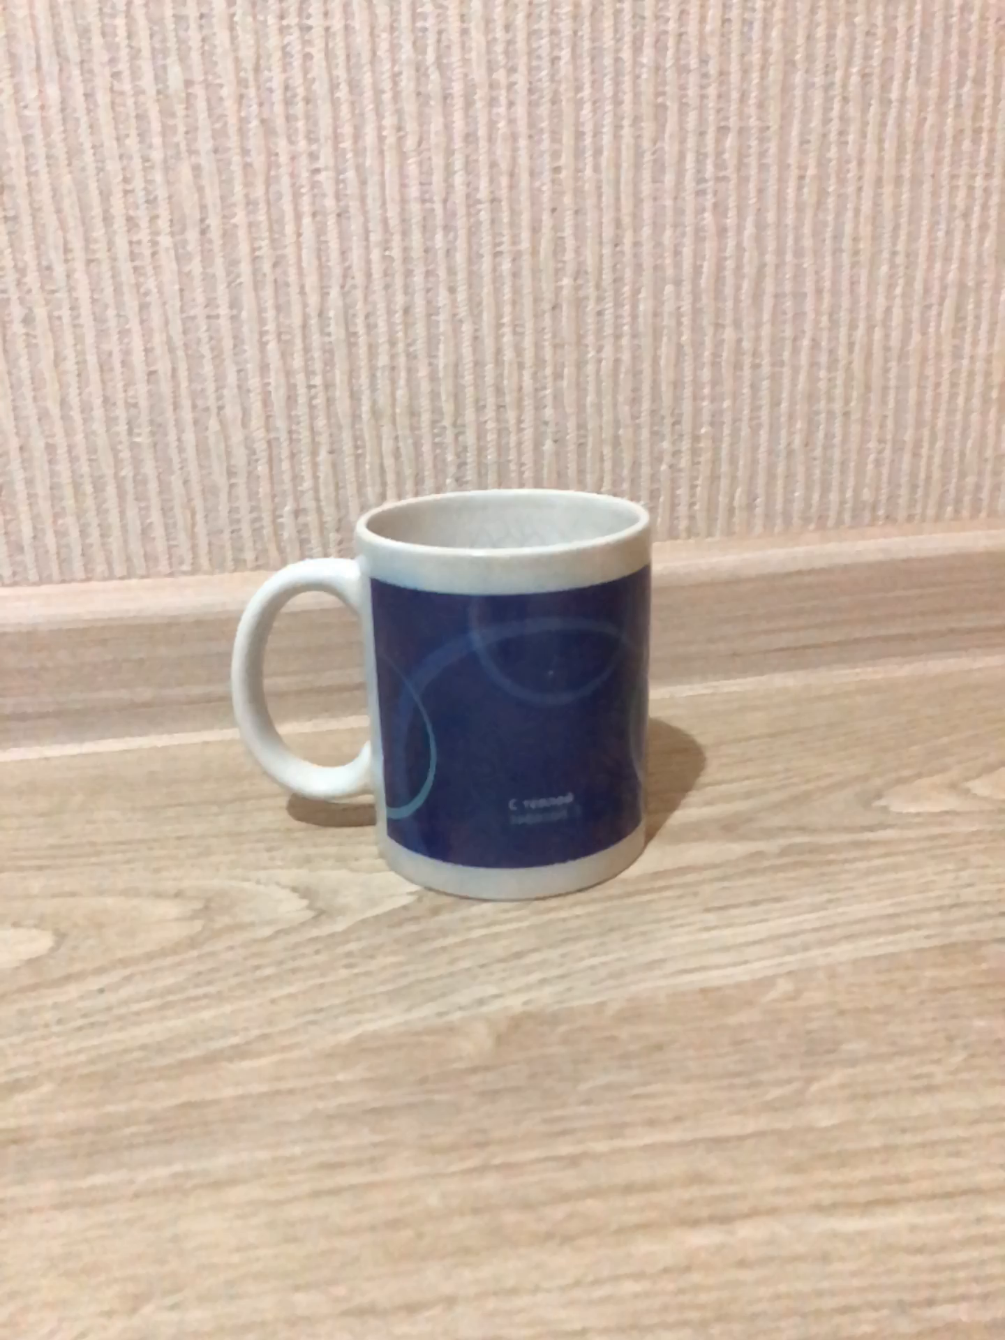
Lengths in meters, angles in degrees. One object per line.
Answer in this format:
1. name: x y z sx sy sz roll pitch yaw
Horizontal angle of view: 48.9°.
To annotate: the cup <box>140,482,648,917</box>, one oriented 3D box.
1. cup: -0.022 0.003 0.323 0.122 0.099 0.094 0 18 4
